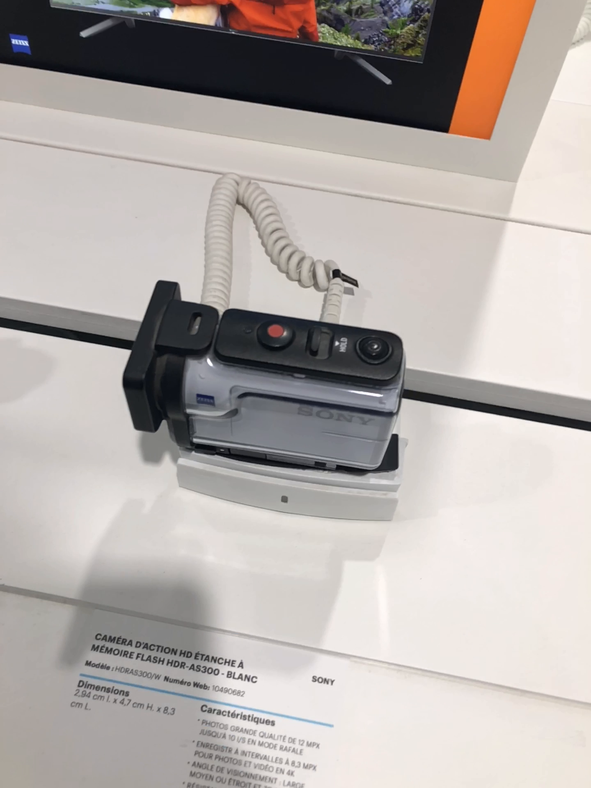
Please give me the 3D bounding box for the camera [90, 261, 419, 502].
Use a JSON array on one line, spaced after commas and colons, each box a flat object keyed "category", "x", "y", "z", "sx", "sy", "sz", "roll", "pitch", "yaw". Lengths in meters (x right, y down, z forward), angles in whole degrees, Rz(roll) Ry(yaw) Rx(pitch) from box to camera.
[{"category": "camera", "x": -0.011, "y": -0.004, "z": 0.218, "sx": 0.093, "sy": 0.044, "sz": 0.049, "roll": 9, "pitch": 52, "yaw": 3}]
